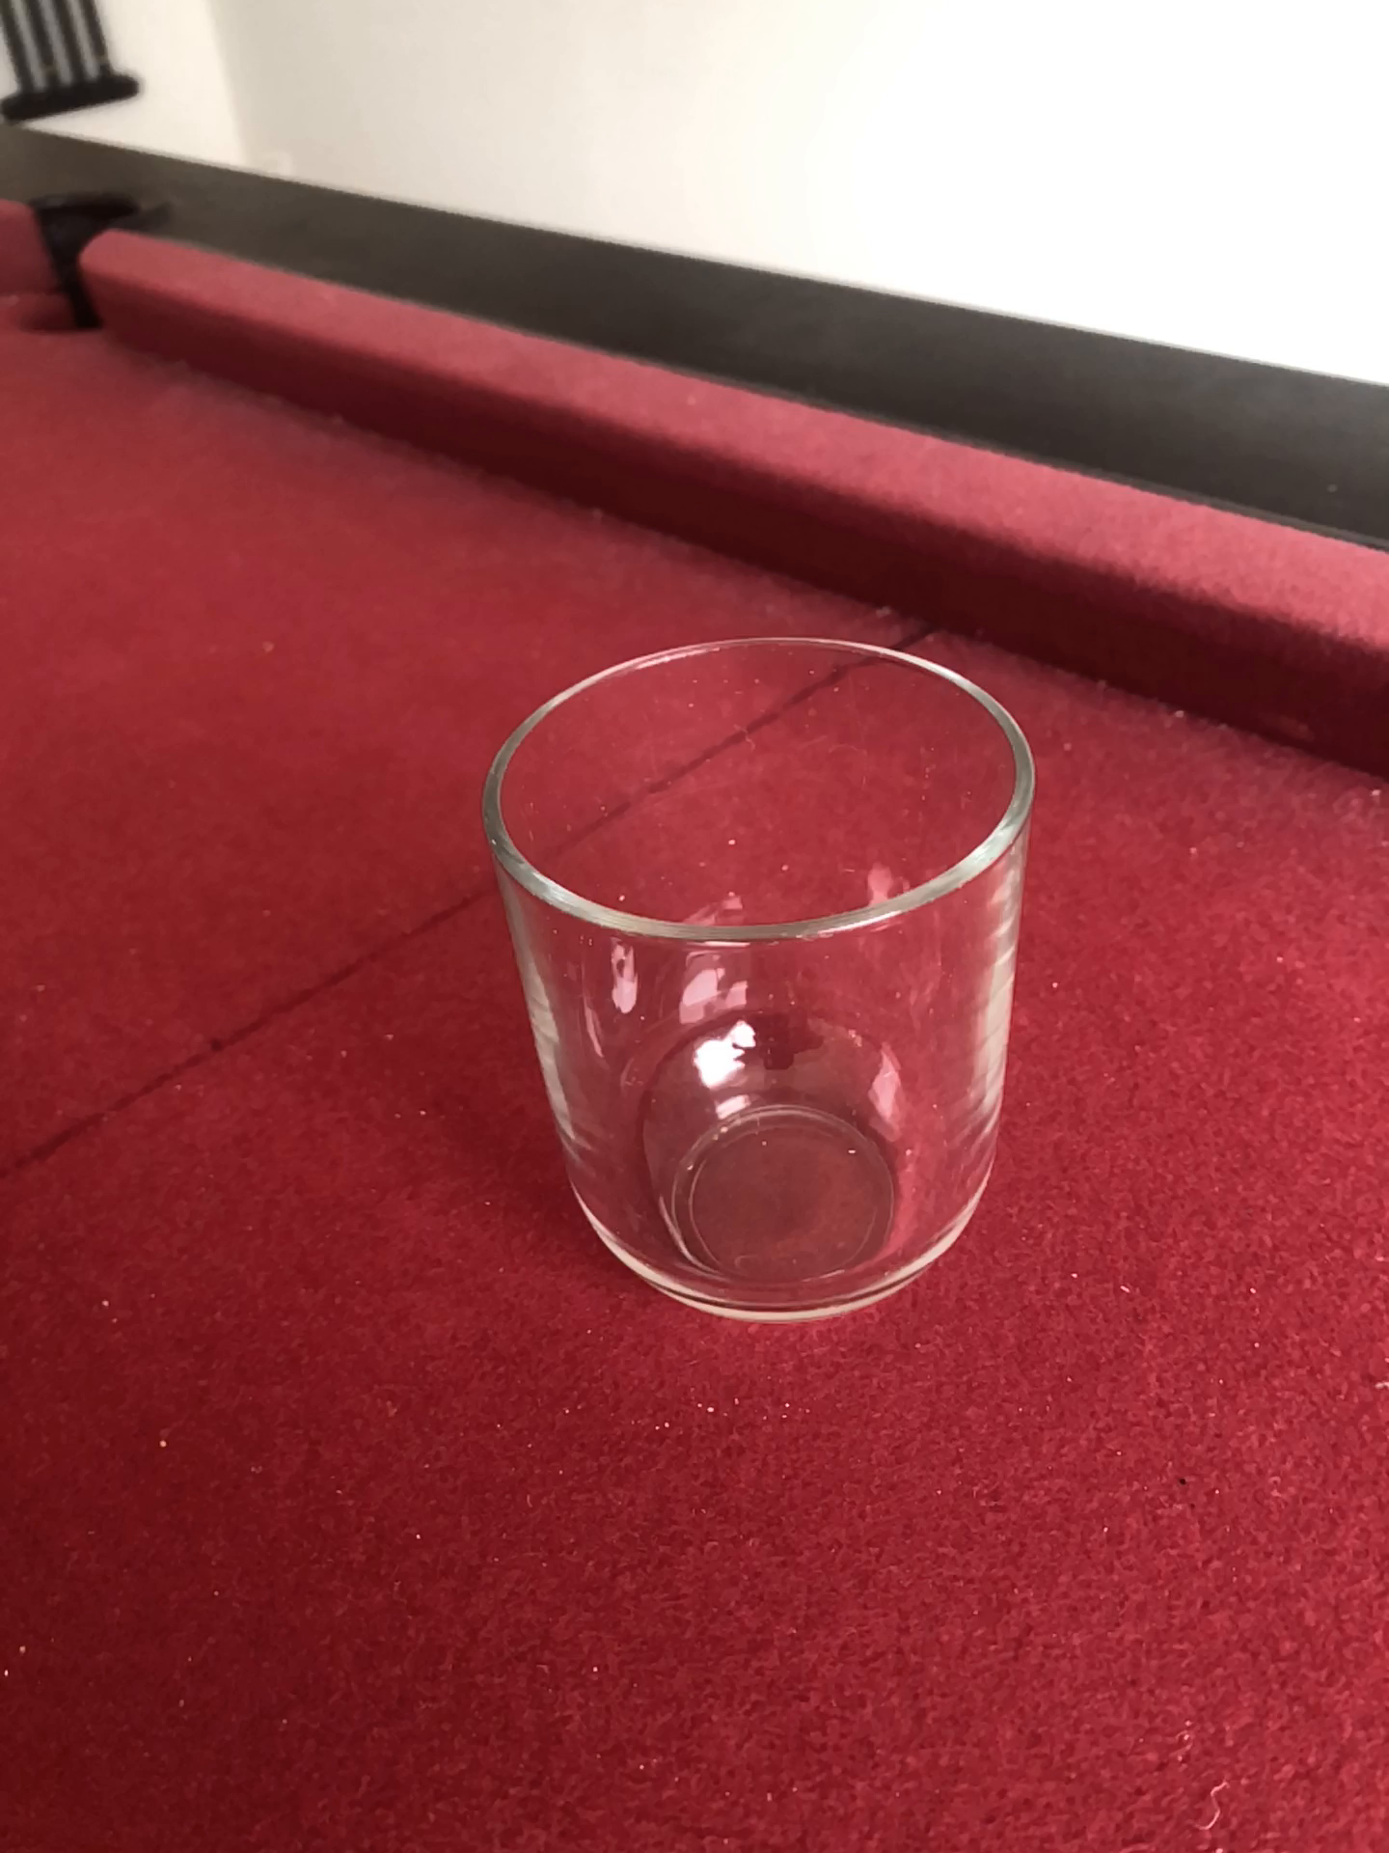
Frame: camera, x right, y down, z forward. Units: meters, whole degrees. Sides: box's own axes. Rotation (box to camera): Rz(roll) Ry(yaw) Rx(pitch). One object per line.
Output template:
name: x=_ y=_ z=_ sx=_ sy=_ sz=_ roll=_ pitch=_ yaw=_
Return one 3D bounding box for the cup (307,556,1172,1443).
cup: x=0.006 y=0.004 z=0.221 sx=0.080 sy=0.070 sz=0.080 roll=-4 pitch=37 yaw=3
